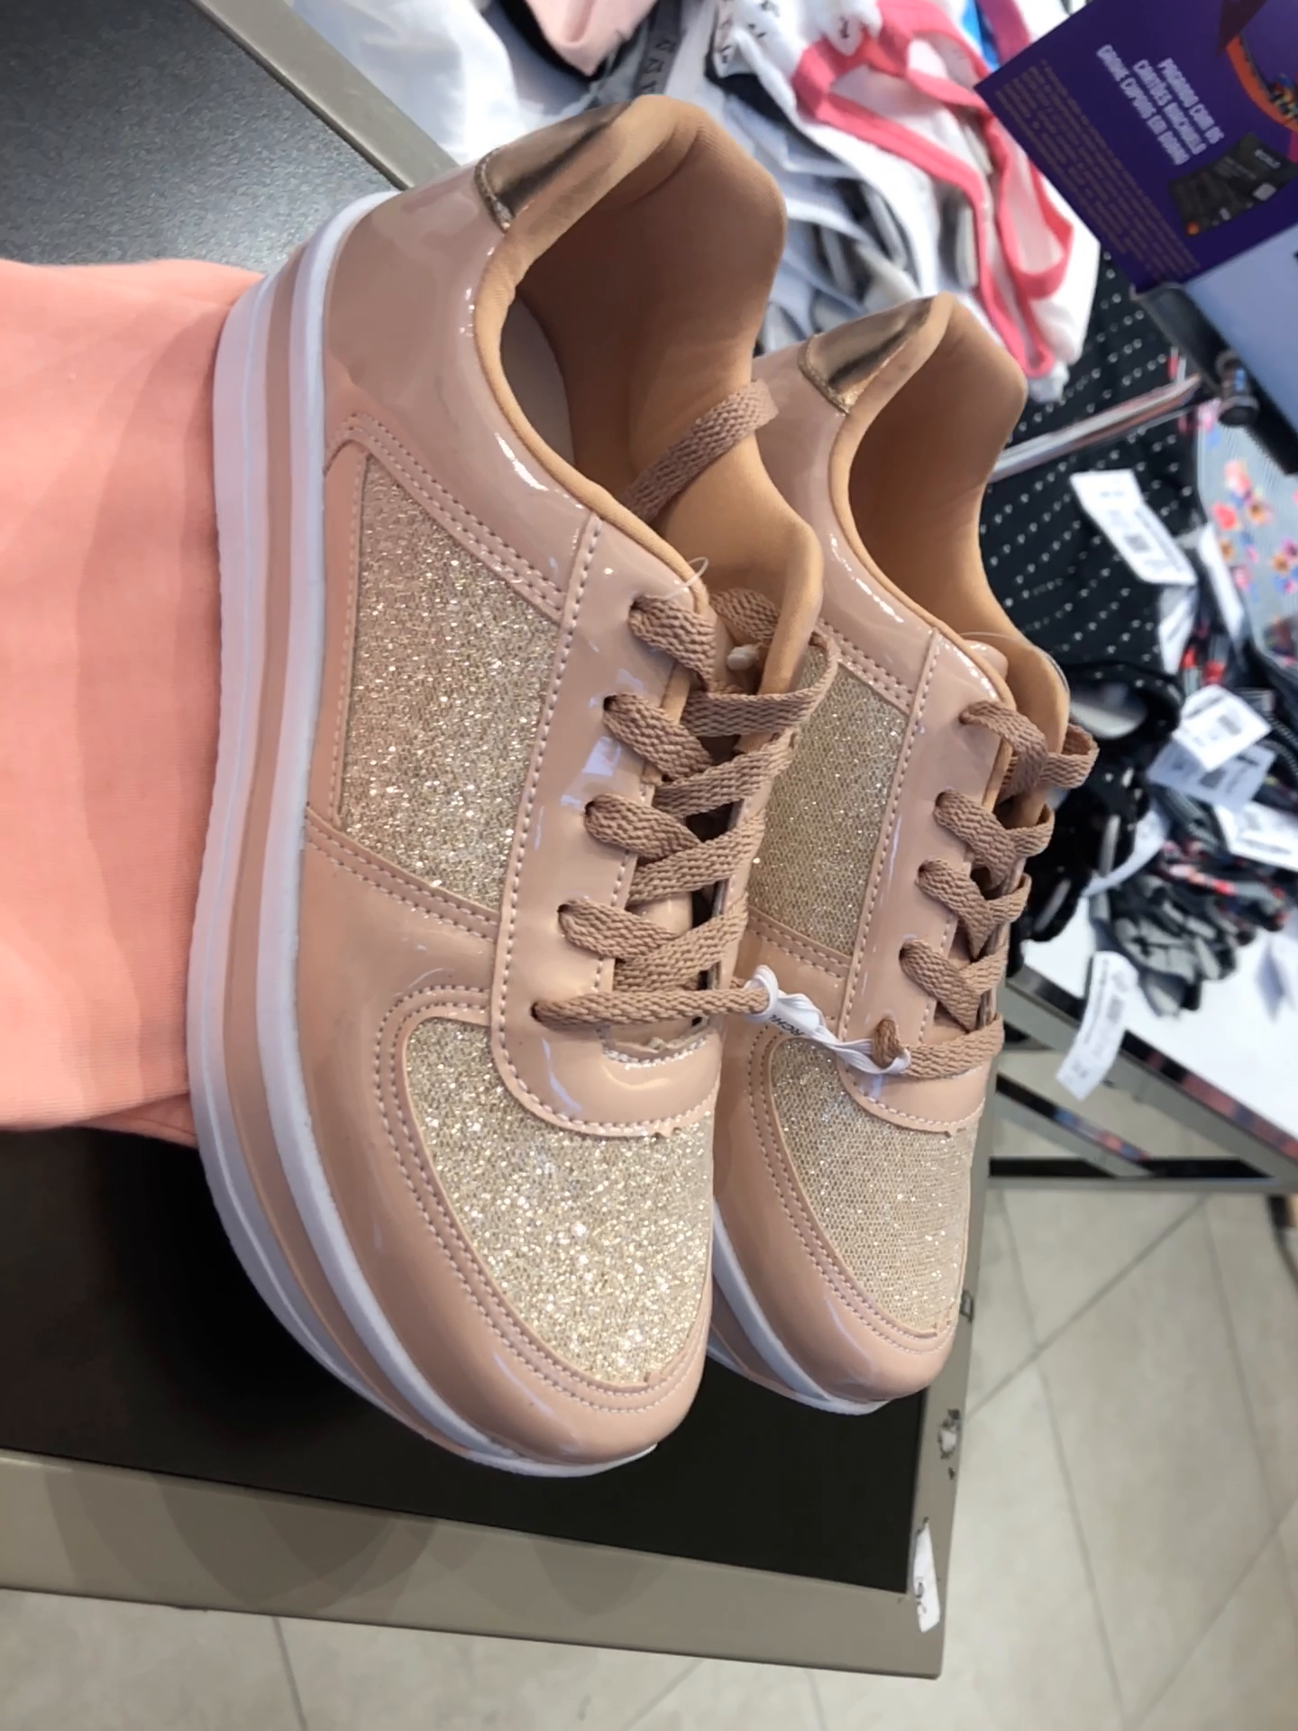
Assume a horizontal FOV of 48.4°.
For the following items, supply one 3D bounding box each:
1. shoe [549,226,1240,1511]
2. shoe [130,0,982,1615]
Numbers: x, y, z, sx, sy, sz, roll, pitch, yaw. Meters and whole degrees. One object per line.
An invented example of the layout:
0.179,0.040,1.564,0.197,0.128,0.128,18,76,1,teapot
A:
0.049,0.002,0.308,0.091,0.089,0.220,3,80,-45,shoe
-0.021,-0.012,0.251,0.091,0.099,0.220,3,80,-45,shoe
